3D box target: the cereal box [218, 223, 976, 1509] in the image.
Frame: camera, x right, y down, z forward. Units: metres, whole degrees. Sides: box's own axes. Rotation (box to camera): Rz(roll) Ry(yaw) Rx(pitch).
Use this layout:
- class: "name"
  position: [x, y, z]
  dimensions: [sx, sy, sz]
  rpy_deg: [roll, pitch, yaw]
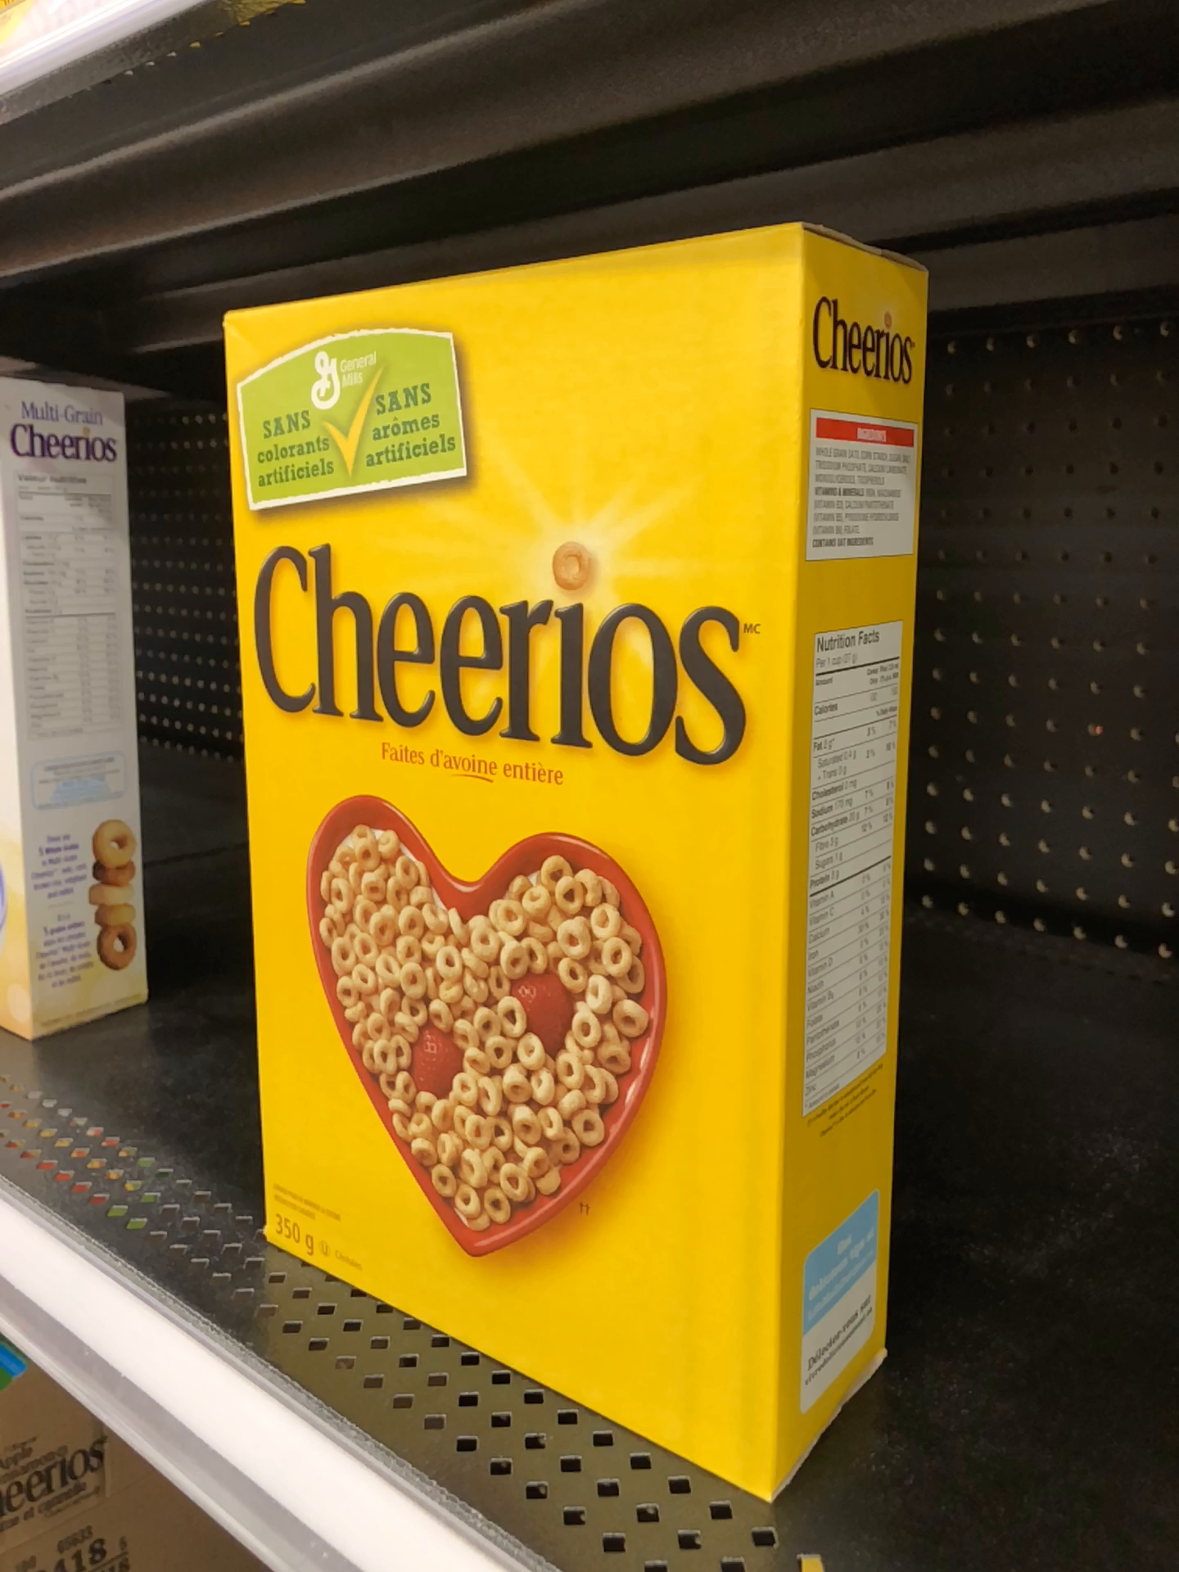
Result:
- class: "cereal box"
  position: [-0.007, 0.013, 0.400]
  dimensions: [0.210, 0.309, 0.080]
  rpy_deg: [8, 13, 37]
